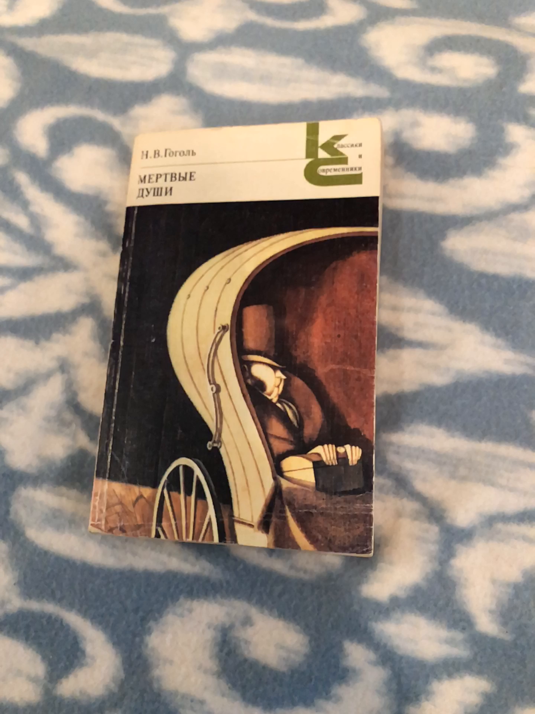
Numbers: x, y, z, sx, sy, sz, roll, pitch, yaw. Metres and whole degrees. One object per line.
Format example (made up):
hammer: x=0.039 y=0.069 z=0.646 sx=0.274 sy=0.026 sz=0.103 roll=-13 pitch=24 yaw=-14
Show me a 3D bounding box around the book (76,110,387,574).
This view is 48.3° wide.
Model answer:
book: x=-0.011 y=-0.013 z=0.272 sx=0.125 sy=0.025 sz=0.199 roll=1 pitch=77 yaw=11
